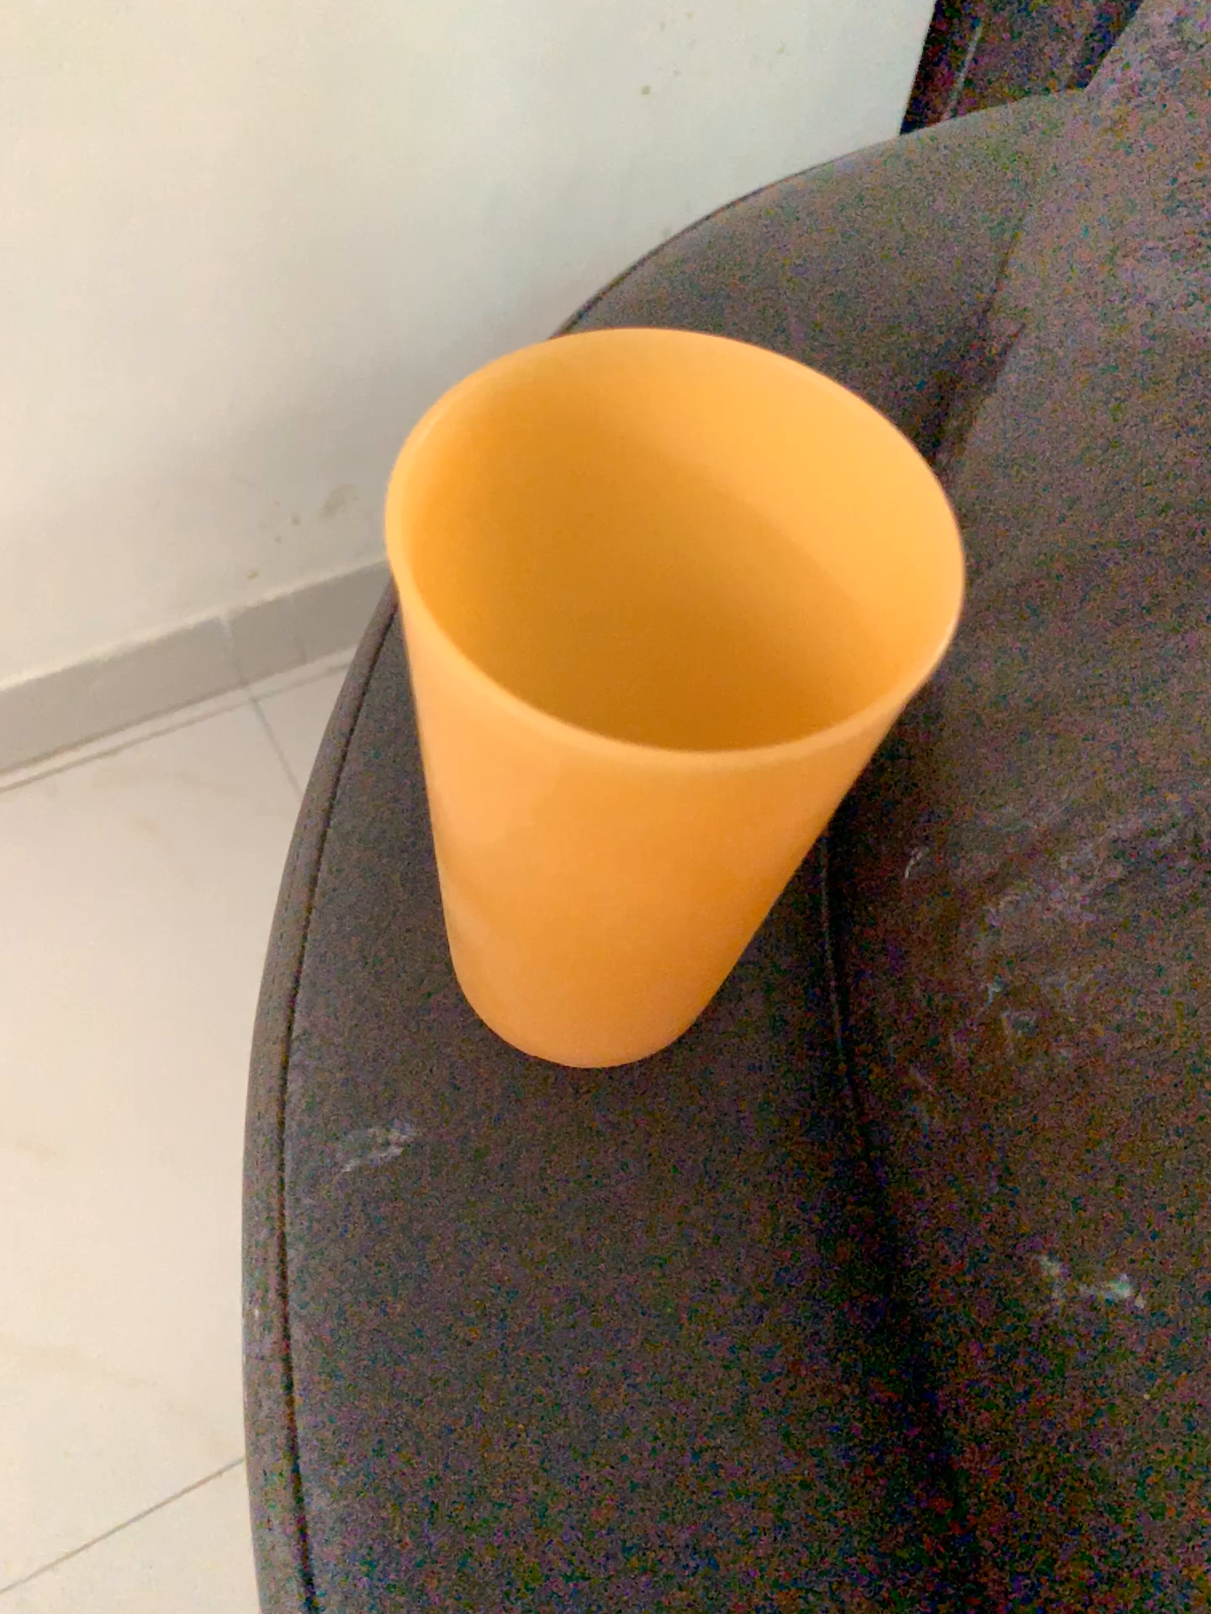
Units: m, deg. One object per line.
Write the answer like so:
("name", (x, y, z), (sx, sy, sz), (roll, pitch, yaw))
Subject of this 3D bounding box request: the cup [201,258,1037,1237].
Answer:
("cup", (0.000, 0.002, 0.197), (0.070, 0.129, 0.070), (2, 57, -4))

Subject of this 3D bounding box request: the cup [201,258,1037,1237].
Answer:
("cup", (0.000, 0.002, 0.197), (0.070, 0.129, 0.070), (2, 57, -4))
